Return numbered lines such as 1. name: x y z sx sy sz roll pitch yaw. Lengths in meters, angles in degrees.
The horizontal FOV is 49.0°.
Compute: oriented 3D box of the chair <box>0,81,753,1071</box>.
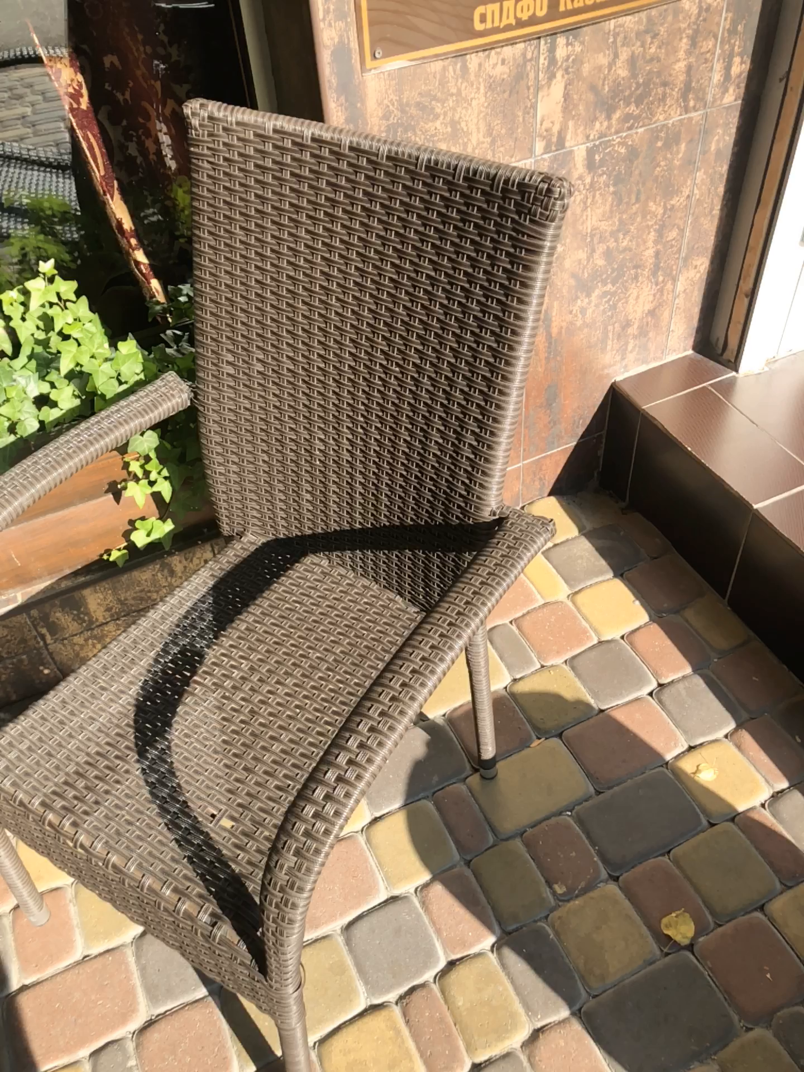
1. chair: -0.112 0.110 1.036 0.611 0.906 0.722 23 52 25
